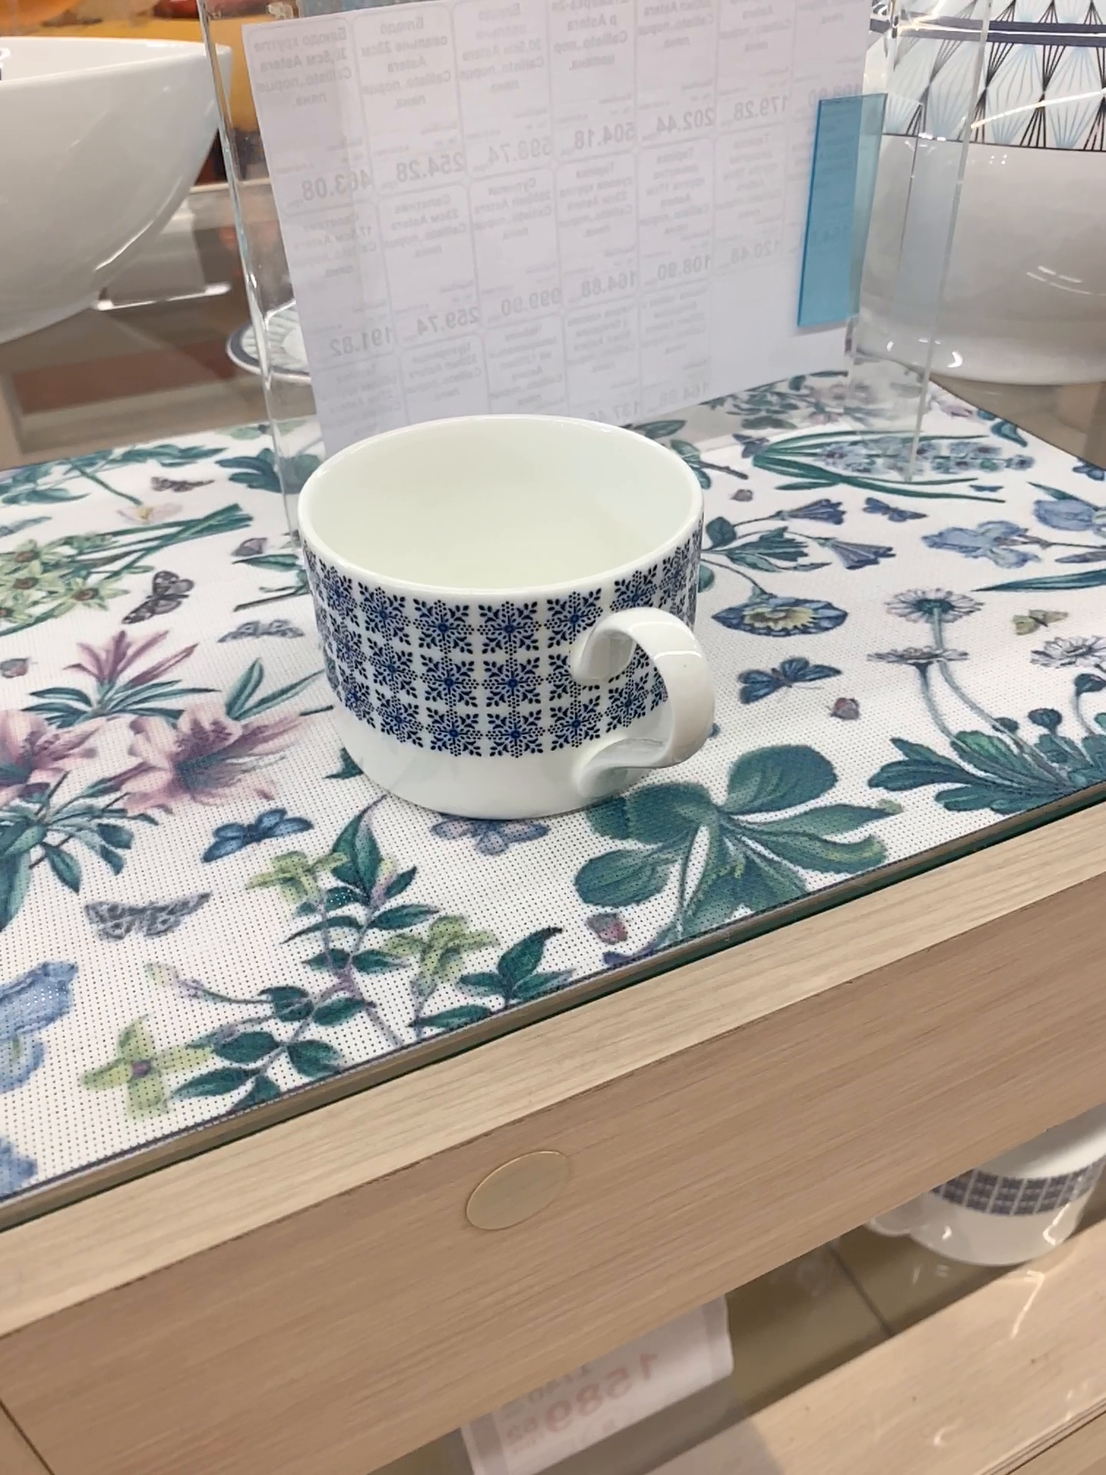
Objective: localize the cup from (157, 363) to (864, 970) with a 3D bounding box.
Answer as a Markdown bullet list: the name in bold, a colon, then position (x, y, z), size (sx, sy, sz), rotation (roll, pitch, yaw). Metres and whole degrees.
- **cup**: position (-0.013, -0.027, 0.254), size (0.090, 0.060, 0.120), rotation (-28, 45, -30)
